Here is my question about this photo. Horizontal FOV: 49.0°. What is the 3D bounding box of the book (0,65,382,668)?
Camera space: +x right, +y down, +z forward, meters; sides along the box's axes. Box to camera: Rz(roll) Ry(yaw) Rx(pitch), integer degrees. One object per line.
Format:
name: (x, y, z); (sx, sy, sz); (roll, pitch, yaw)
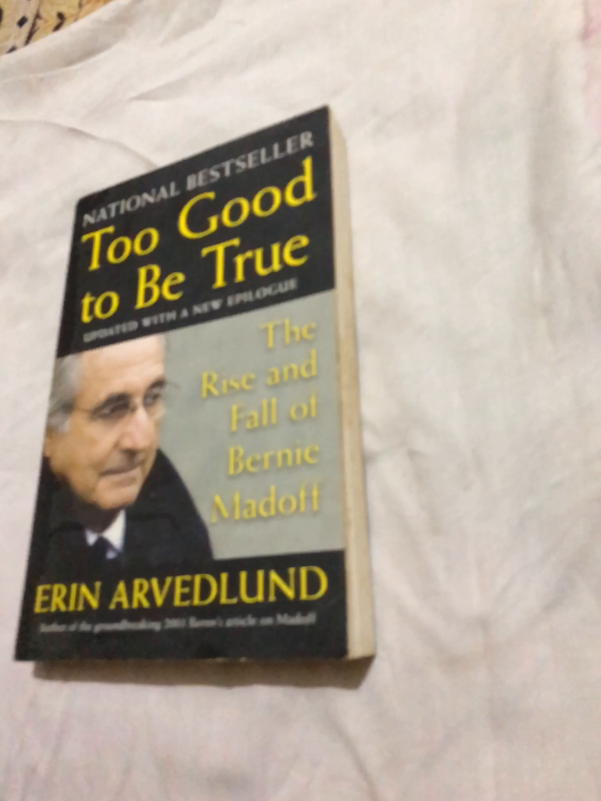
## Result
book: (-0.049, -0.013, 0.275); (0.150, 0.030, 0.230); (-11, 67, 25)
